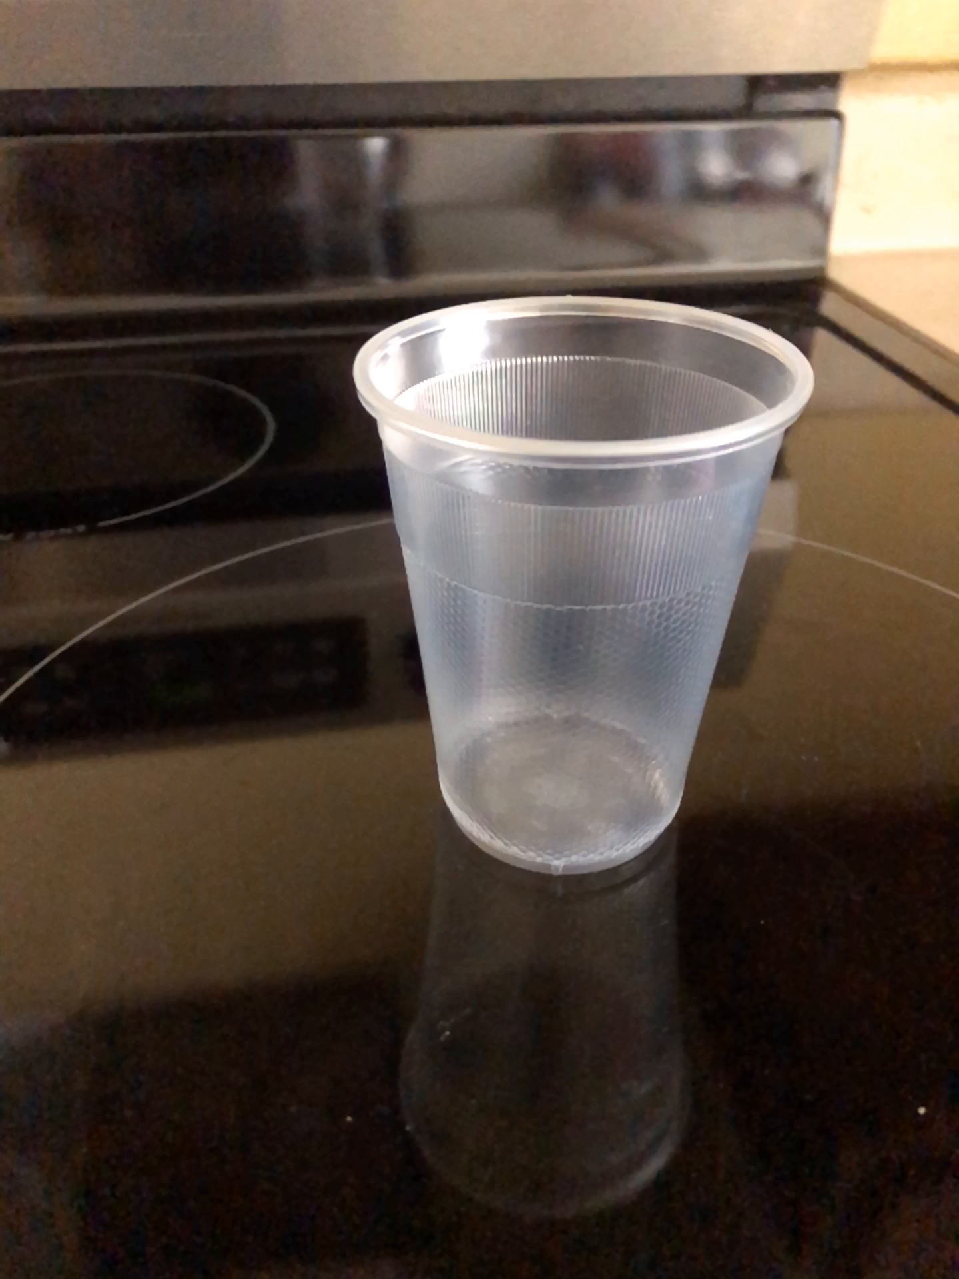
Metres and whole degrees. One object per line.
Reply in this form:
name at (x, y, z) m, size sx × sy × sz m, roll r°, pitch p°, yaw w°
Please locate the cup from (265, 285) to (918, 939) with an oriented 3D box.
cup at (0.013, -0.009, 0.185) m, size 0.079 × 0.081 × 0.081 m, roll -1°, pitch 32°, yaw 0°
